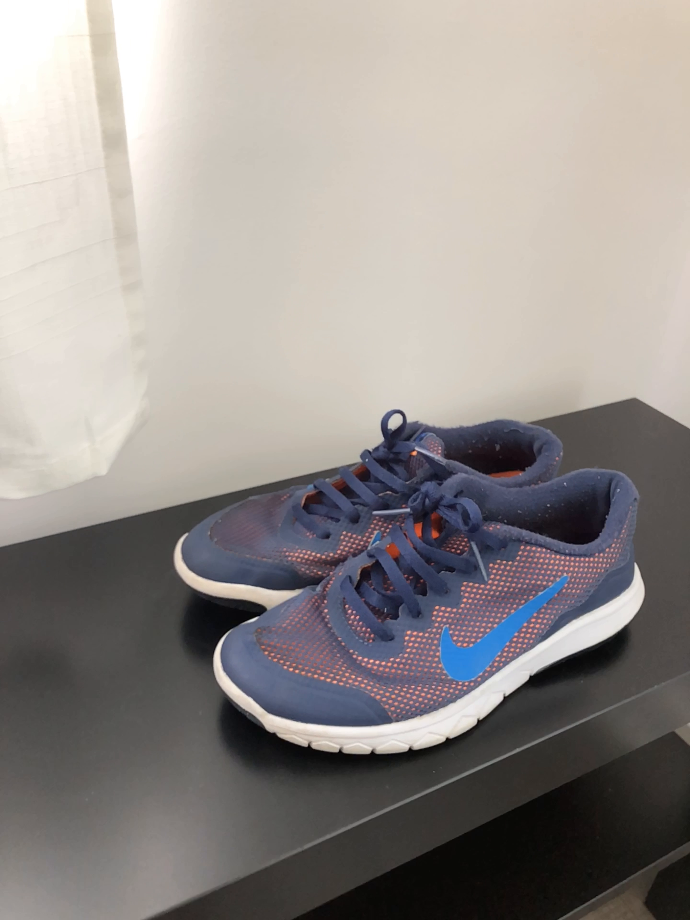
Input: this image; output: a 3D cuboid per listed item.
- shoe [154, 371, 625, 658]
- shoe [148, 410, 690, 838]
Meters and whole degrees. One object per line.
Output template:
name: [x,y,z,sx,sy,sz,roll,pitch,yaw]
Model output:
shoe: [0.027,0.022,0.472,0.260,0.089,0.100,-10,33,-22]
shoe: [0.047,0.063,0.399,0.260,0.089,0.121,-14,35,-27]
